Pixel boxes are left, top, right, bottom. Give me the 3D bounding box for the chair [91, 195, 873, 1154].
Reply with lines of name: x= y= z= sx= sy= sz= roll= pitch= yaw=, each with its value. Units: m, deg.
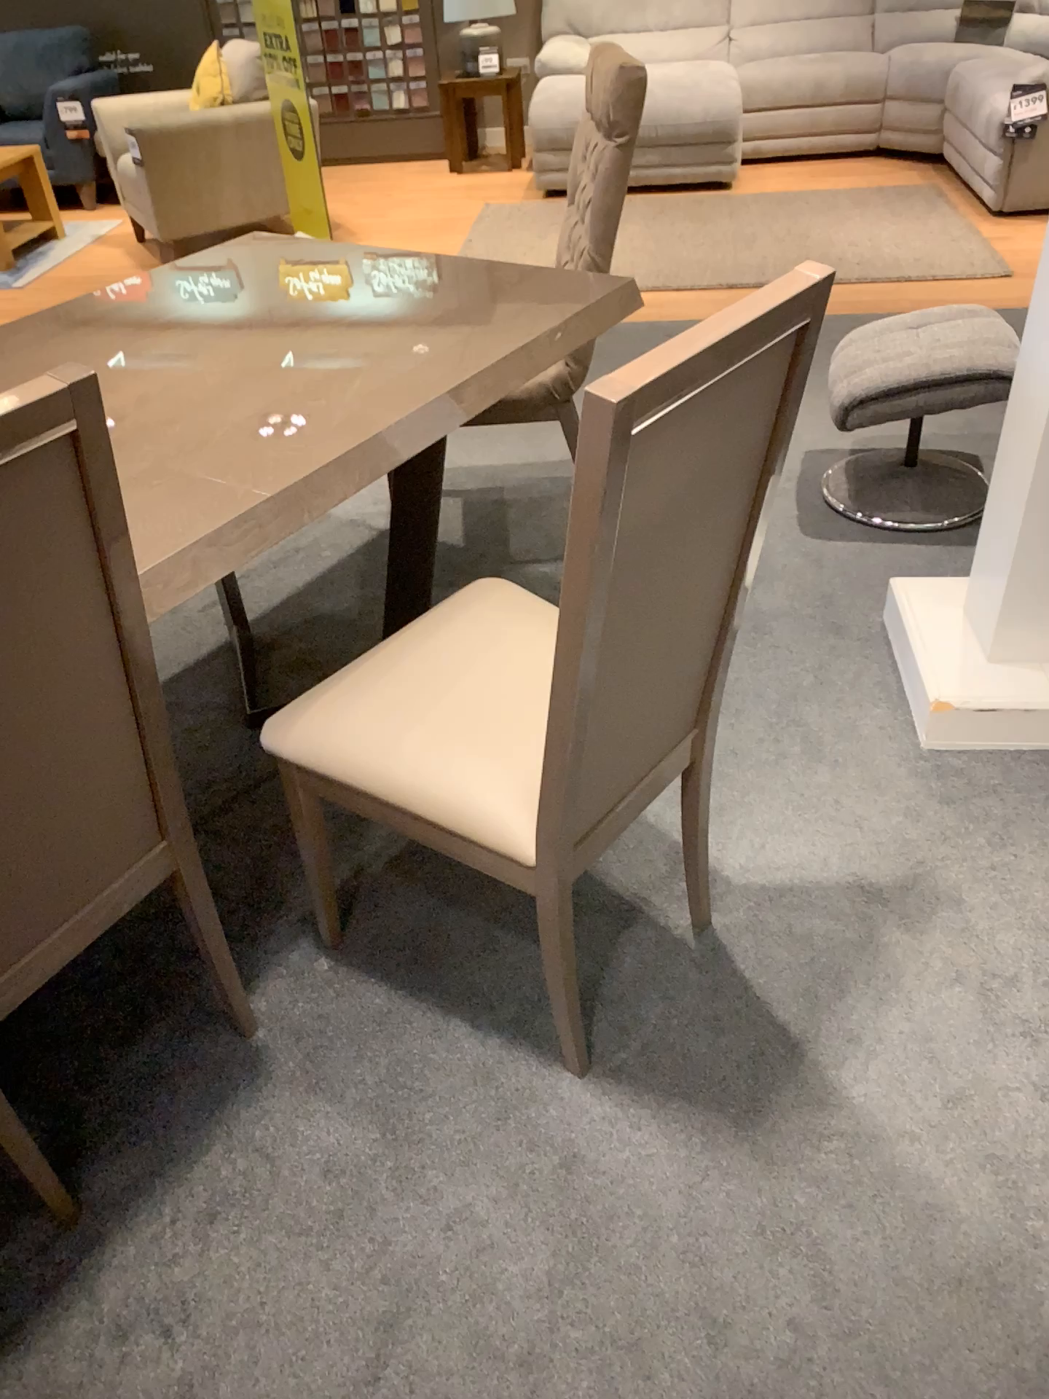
chair: x=0.004 y=-0.050 z=1.351 sx=0.588 sy=0.946 sz=0.541 roll=19 pitch=43 yaw=30
